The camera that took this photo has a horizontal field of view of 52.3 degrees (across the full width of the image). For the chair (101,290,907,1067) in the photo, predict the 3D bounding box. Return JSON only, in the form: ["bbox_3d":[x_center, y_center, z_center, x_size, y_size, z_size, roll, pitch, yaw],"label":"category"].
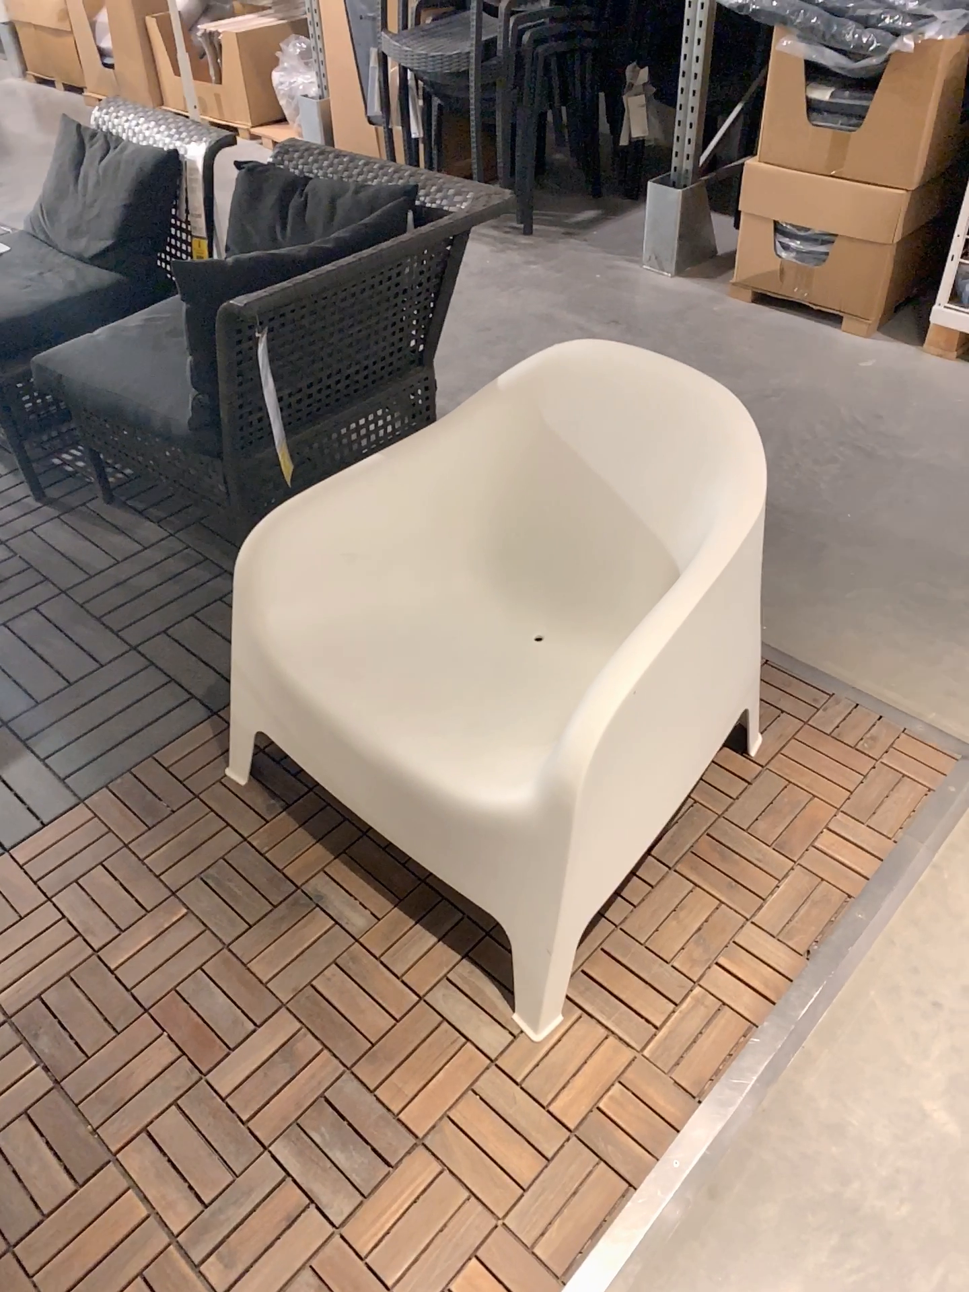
[{"bbox_3d":[0.034,-0.026,1.534,0.772,0.637,0.761,32,52,33],"label":"chair"}]
